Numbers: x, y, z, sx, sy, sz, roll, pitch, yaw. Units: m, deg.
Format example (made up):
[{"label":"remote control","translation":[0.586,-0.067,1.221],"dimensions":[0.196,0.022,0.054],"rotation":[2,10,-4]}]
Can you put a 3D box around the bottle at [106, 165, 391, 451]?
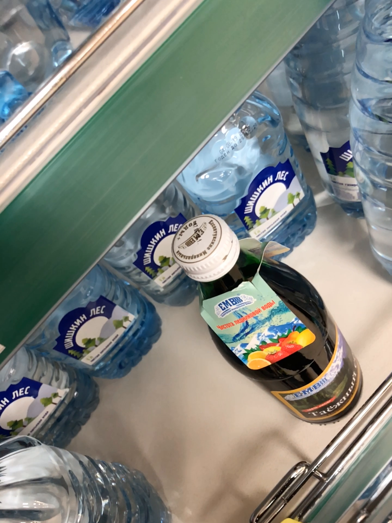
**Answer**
[{"label":"bottle","translation":[0.053,0.049,0.268],"dimensions":[0.075,0.219,0.068],"rotation":[-15,56,23]}]
